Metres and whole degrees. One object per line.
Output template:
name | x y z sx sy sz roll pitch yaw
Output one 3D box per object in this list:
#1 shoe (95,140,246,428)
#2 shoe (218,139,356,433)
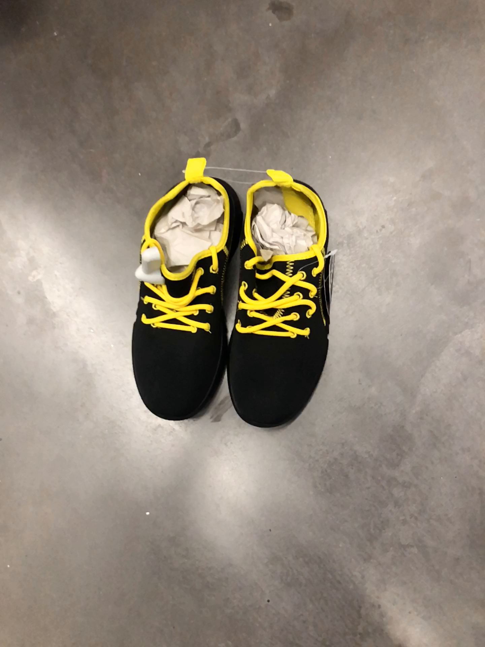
shoe | -0.056 -0.029 0.477 0.090 0.100 0.230 5 81 5
shoe | 0.040 -0.028 0.469 0.090 0.100 0.230 5 81 5
